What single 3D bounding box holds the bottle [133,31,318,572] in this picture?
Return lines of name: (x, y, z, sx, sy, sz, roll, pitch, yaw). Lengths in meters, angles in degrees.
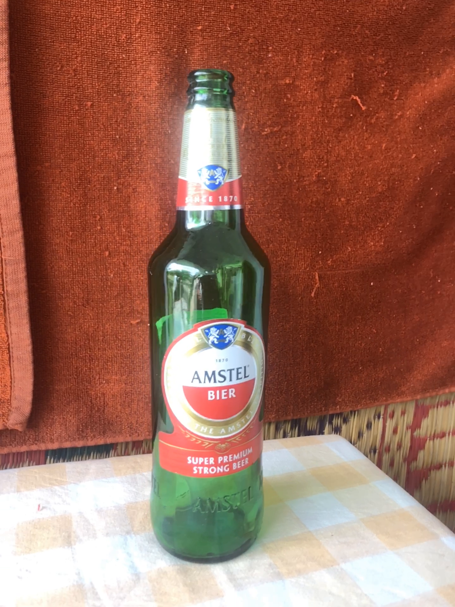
bottle: (-0.010, 0.006, 0.291, 0.080, 0.269, 0.080, 3, 12, -1)
